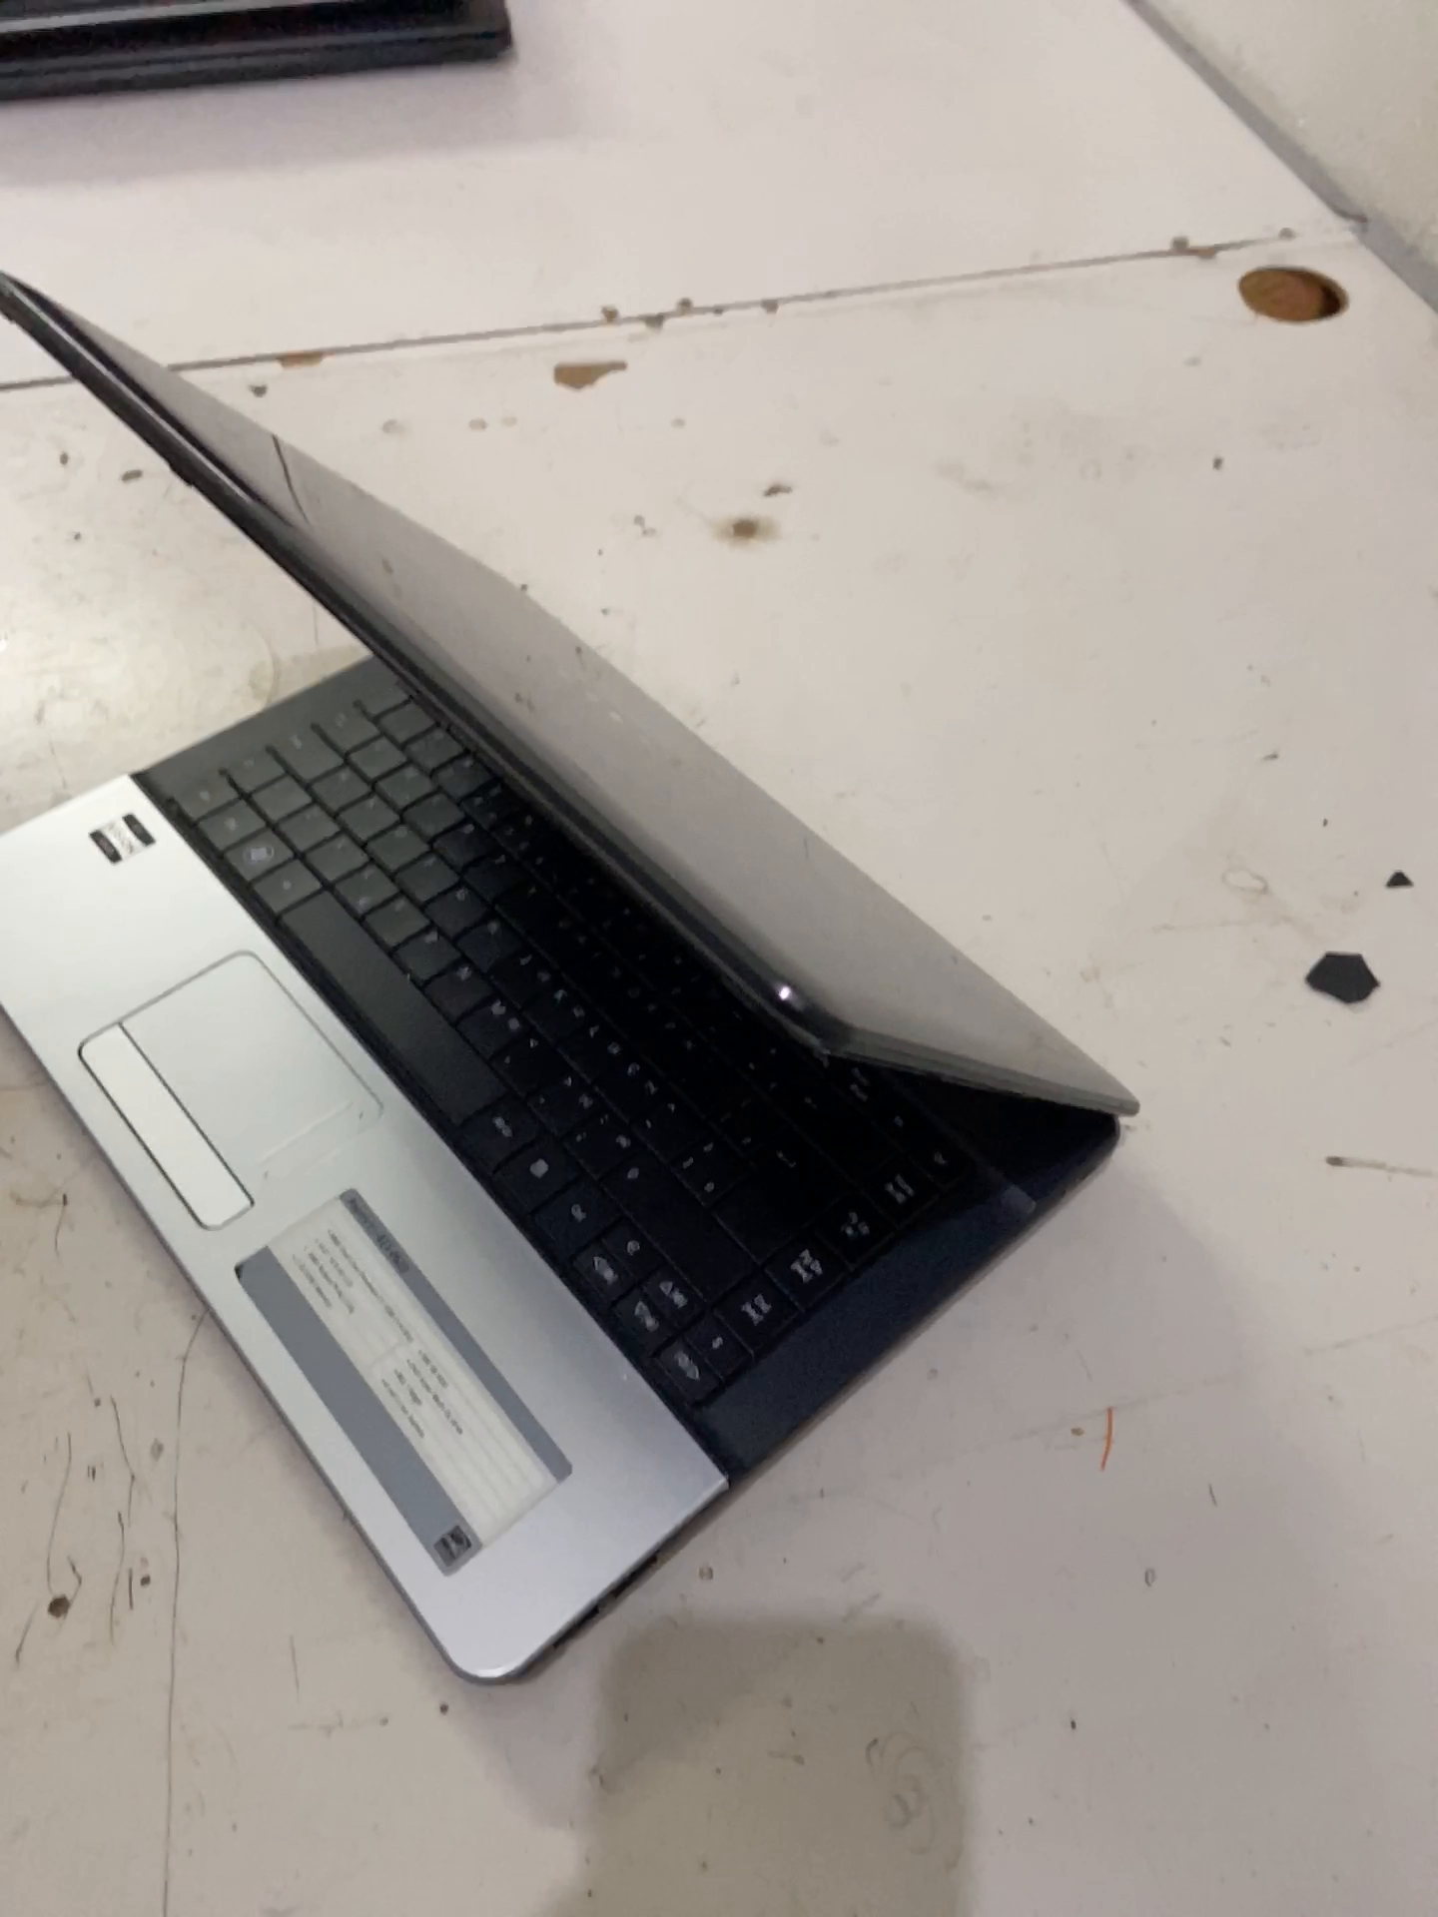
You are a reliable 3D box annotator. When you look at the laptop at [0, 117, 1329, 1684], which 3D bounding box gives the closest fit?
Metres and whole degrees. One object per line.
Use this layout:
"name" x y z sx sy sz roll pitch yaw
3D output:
"laptop" -0.073 -0.043 0.409 0.238 0.184 0.334 -35 60 -23
